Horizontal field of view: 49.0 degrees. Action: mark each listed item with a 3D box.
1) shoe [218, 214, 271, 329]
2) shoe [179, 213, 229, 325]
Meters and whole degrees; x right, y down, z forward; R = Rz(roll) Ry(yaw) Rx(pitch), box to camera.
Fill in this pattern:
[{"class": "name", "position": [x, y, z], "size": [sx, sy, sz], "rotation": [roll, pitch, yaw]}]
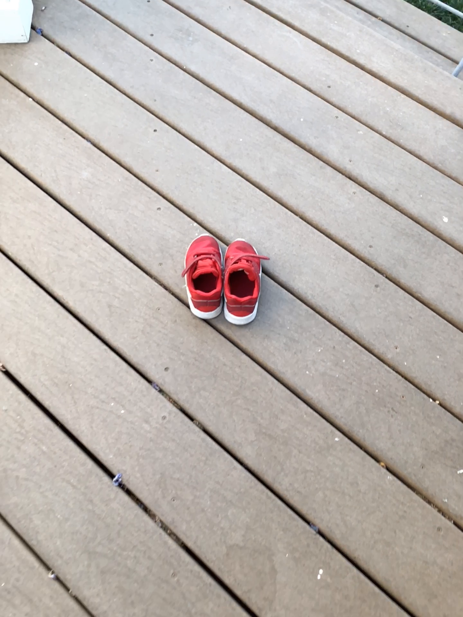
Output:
[{"class": "shoe", "position": [0.022, -0.062, 0.861], "size": [0.077, 0.087, 0.167], "rotation": [4, 64, -1]}, {"class": "shoe", "position": [-0.049, -0.067, 0.868], "size": [0.077, 0.087, 0.167], "rotation": [-1, 64, -4]}]
